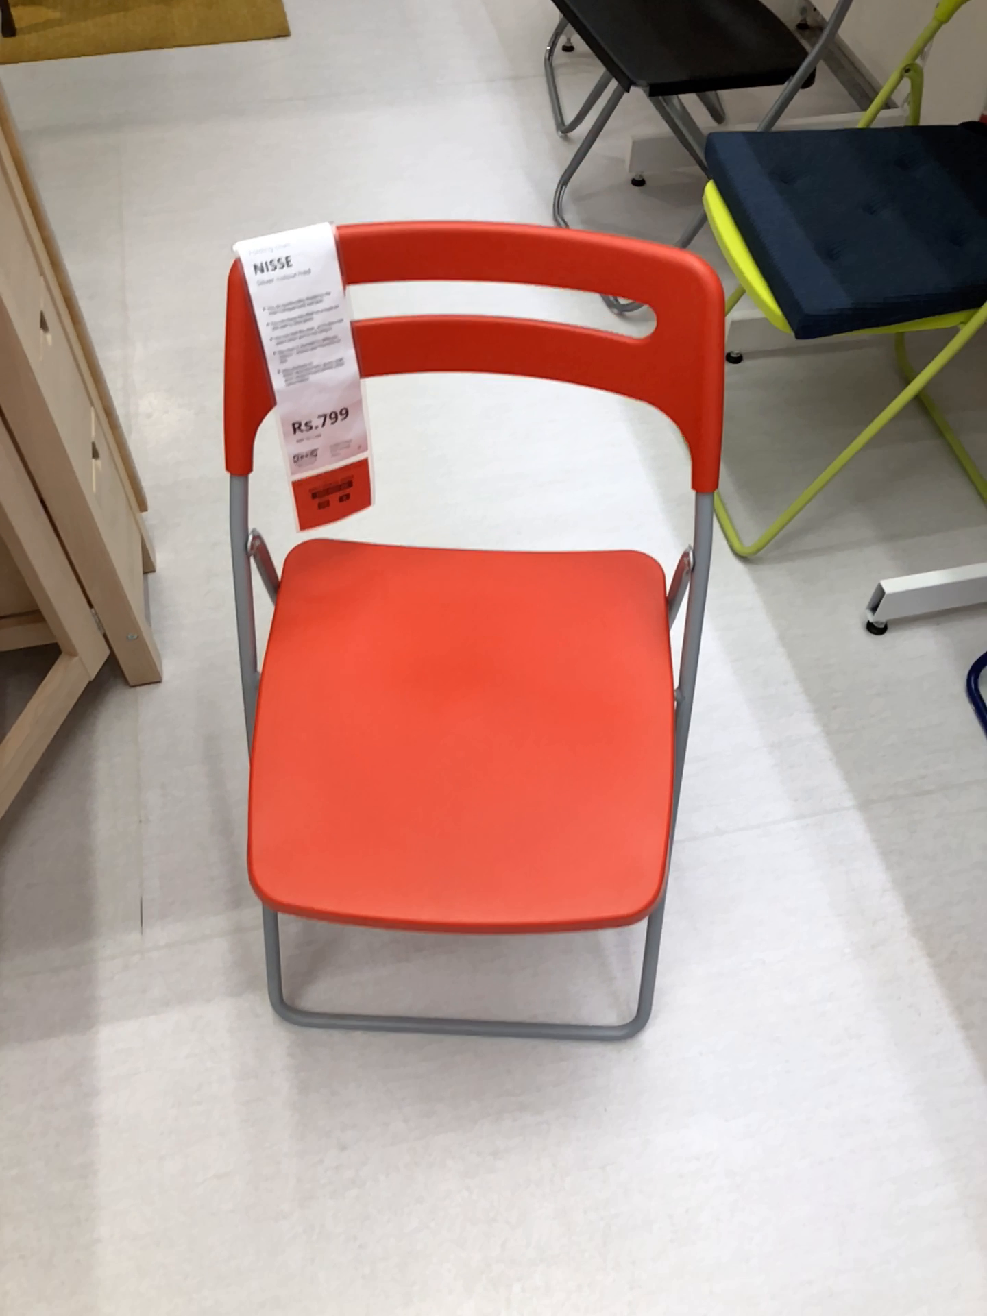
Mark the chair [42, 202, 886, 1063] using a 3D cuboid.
[{"bbox_3d":[-0.015,0.017,0.968,0.450,0.606,0.493,2,54,0],"label":"chair"}]
